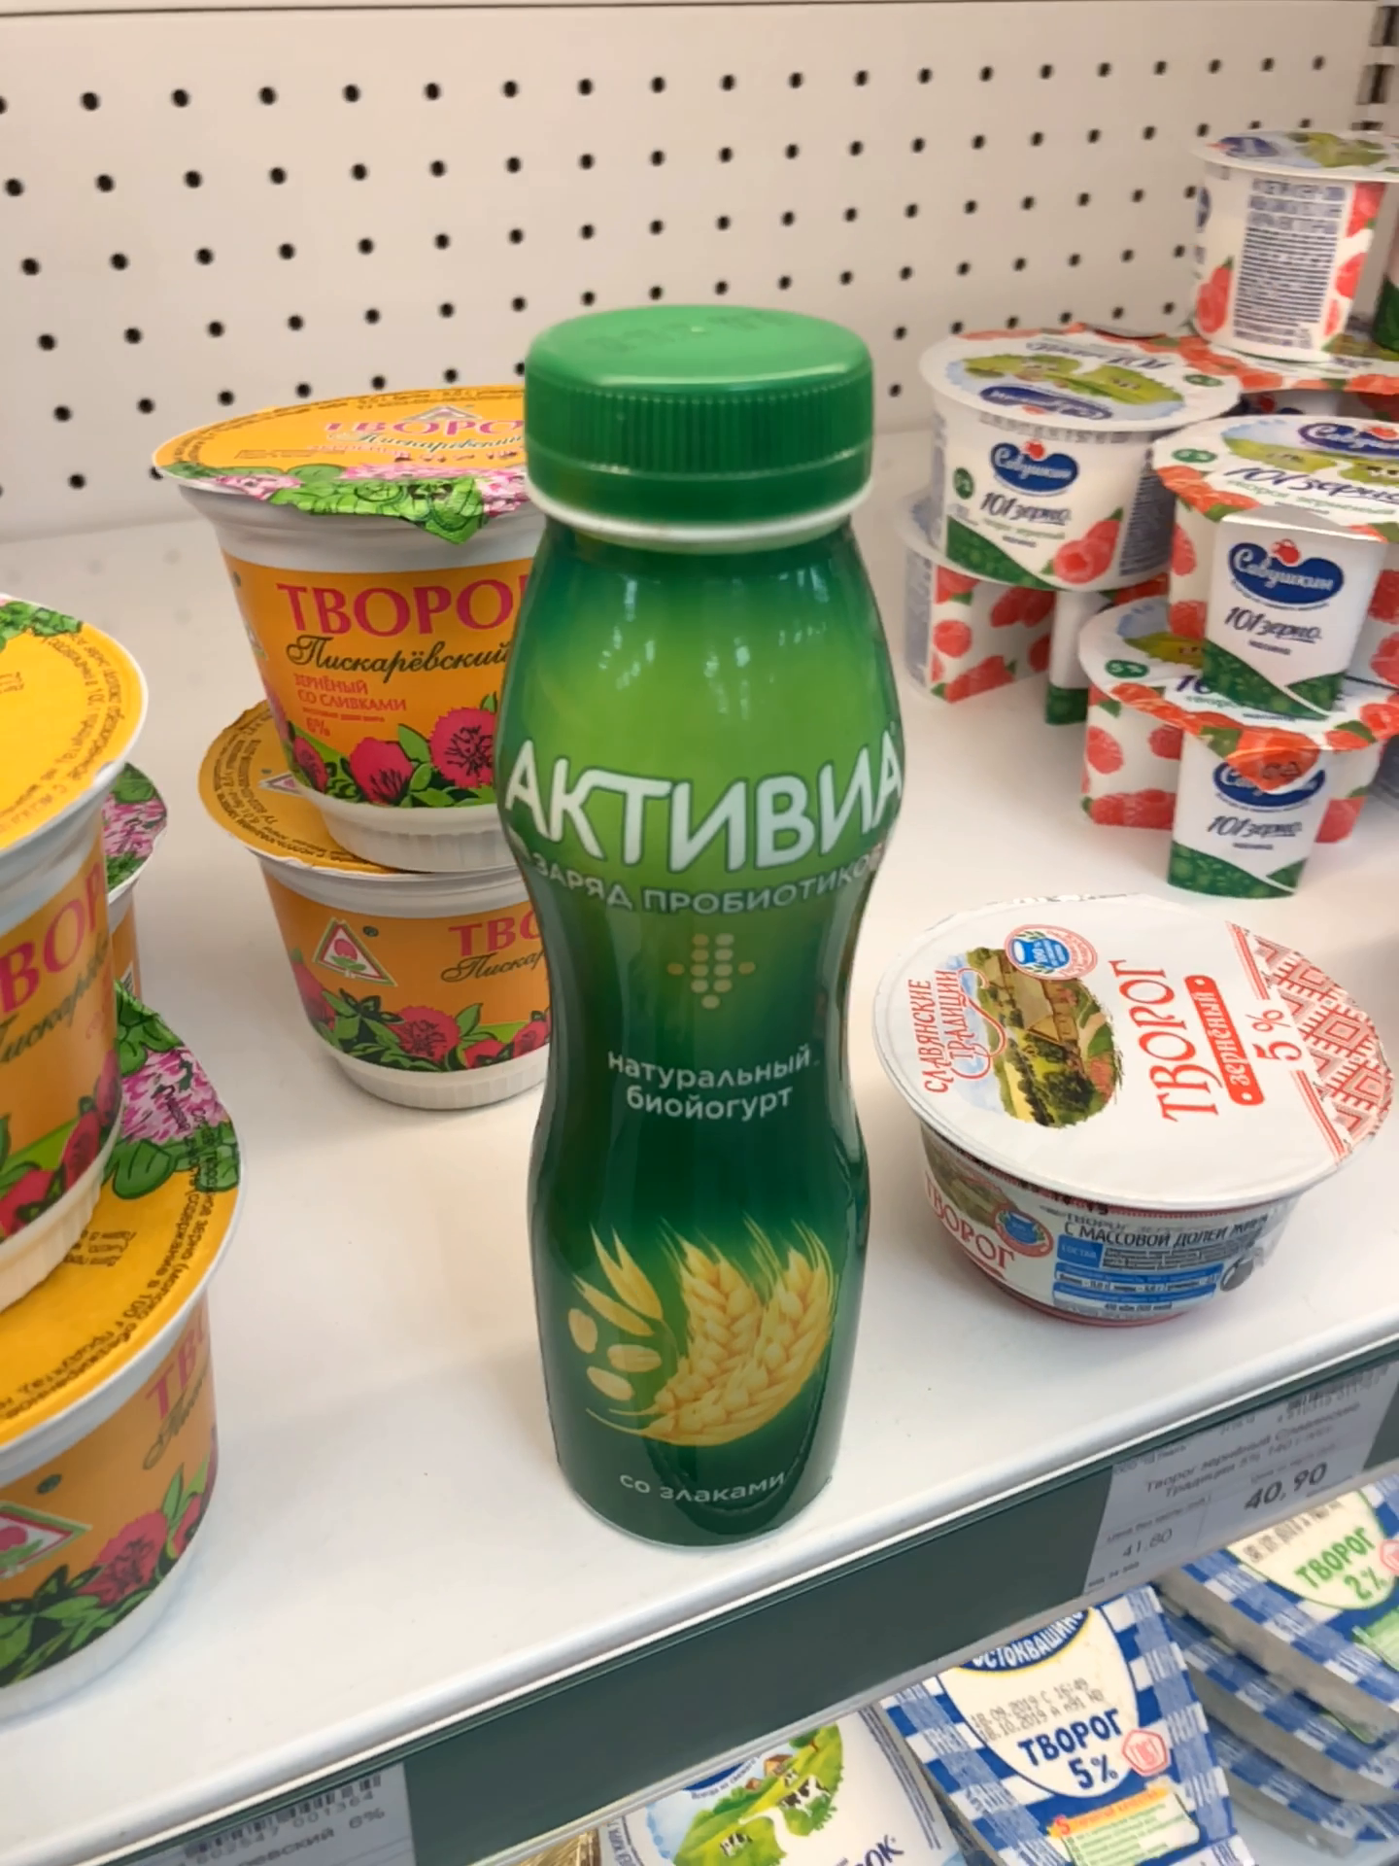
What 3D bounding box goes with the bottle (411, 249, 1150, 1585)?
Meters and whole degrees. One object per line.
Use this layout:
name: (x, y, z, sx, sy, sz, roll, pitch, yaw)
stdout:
bottle: (0.003, 0.008, 0.221, 0.070, 0.183, 0.060, -4, 35, -7)
